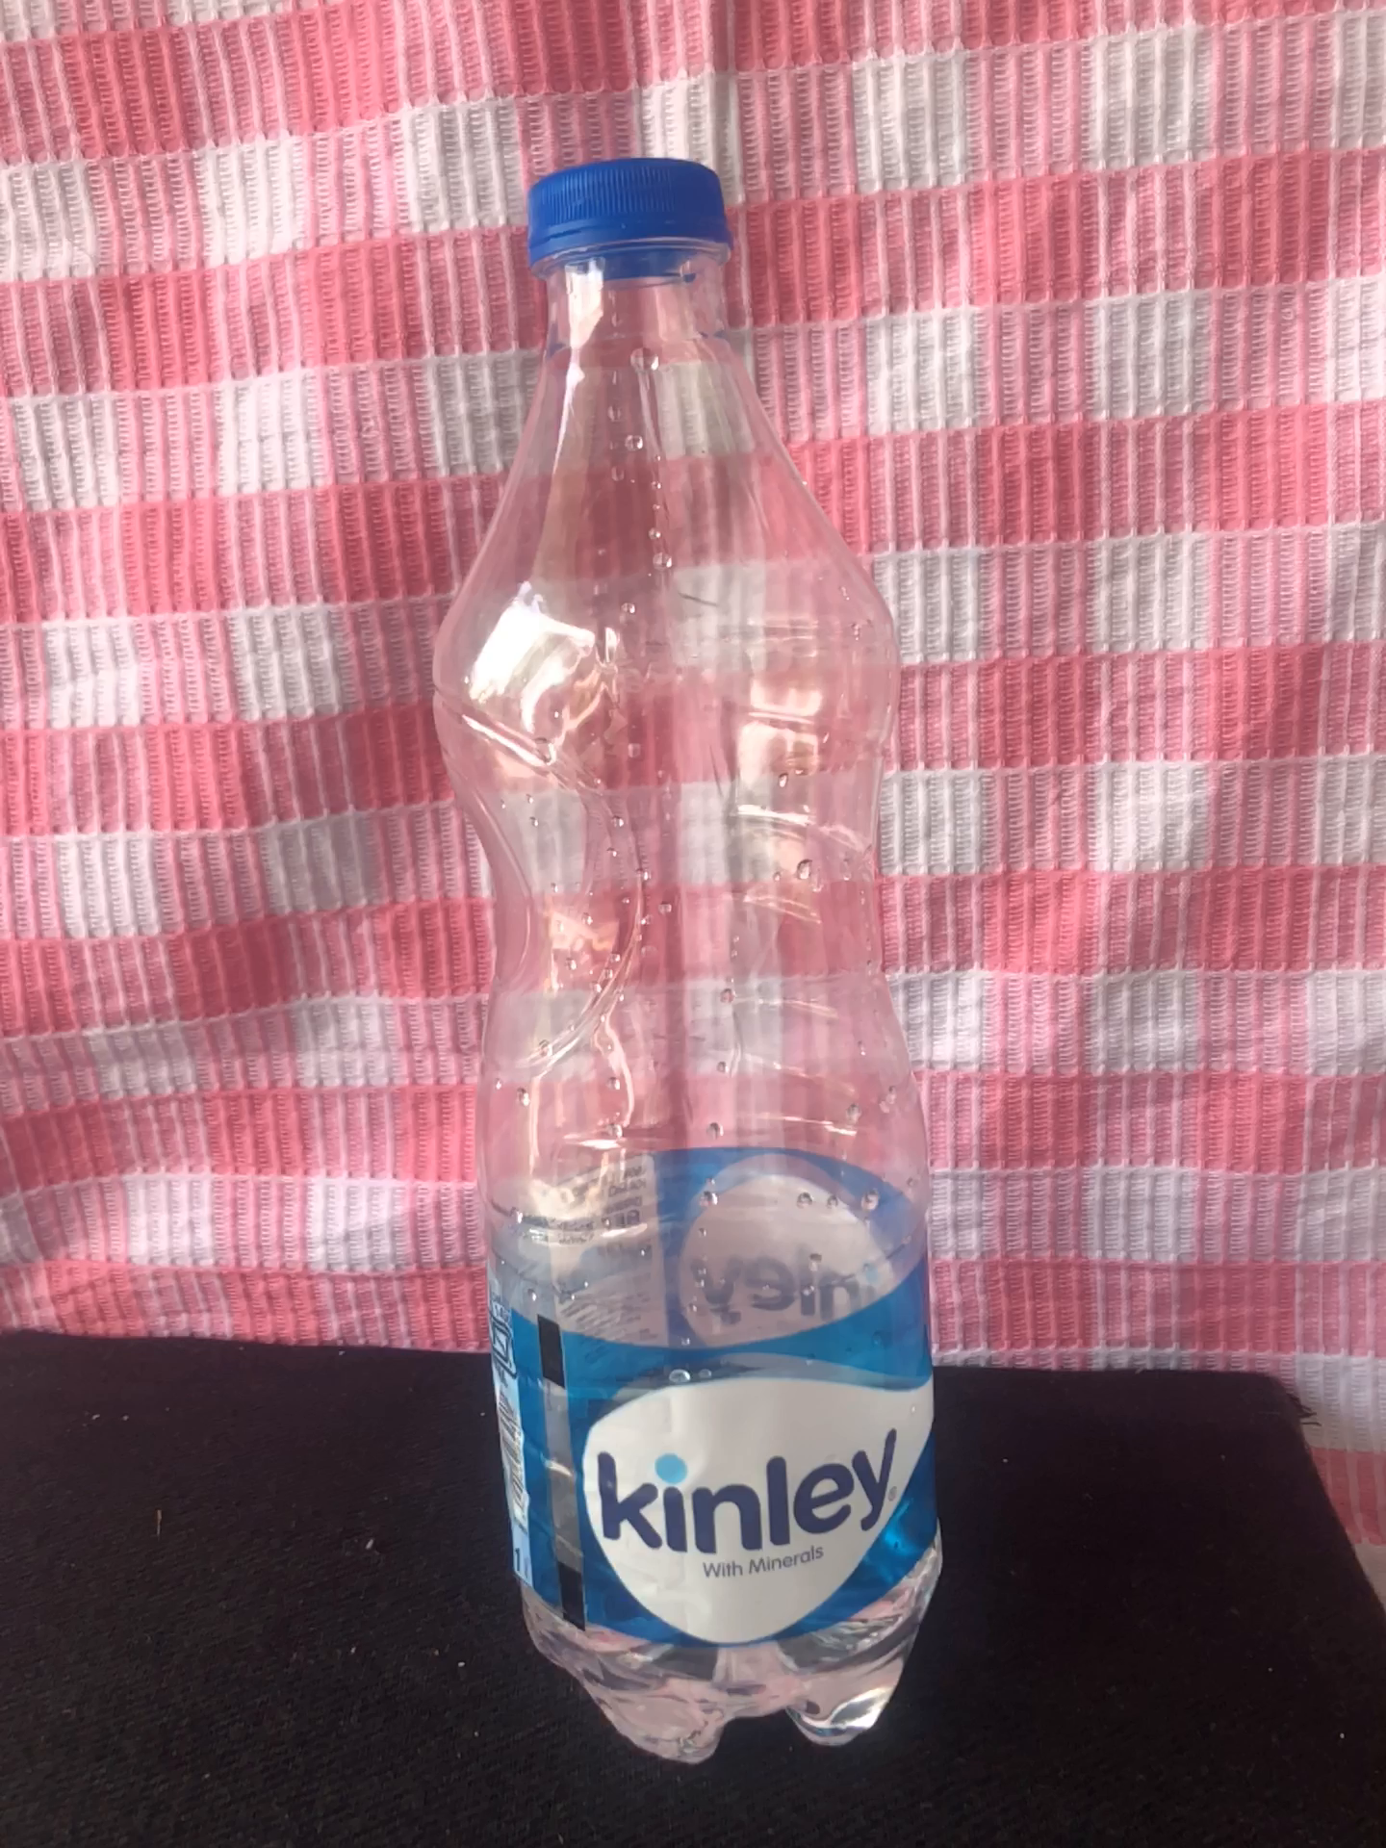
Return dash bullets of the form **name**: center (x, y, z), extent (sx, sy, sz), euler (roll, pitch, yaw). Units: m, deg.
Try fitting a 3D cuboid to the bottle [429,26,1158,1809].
- **bottle**: center (0.010, 0.005, 0.262), extent (0.090, 0.259, 0.080), euler (-4, 16, -11)
